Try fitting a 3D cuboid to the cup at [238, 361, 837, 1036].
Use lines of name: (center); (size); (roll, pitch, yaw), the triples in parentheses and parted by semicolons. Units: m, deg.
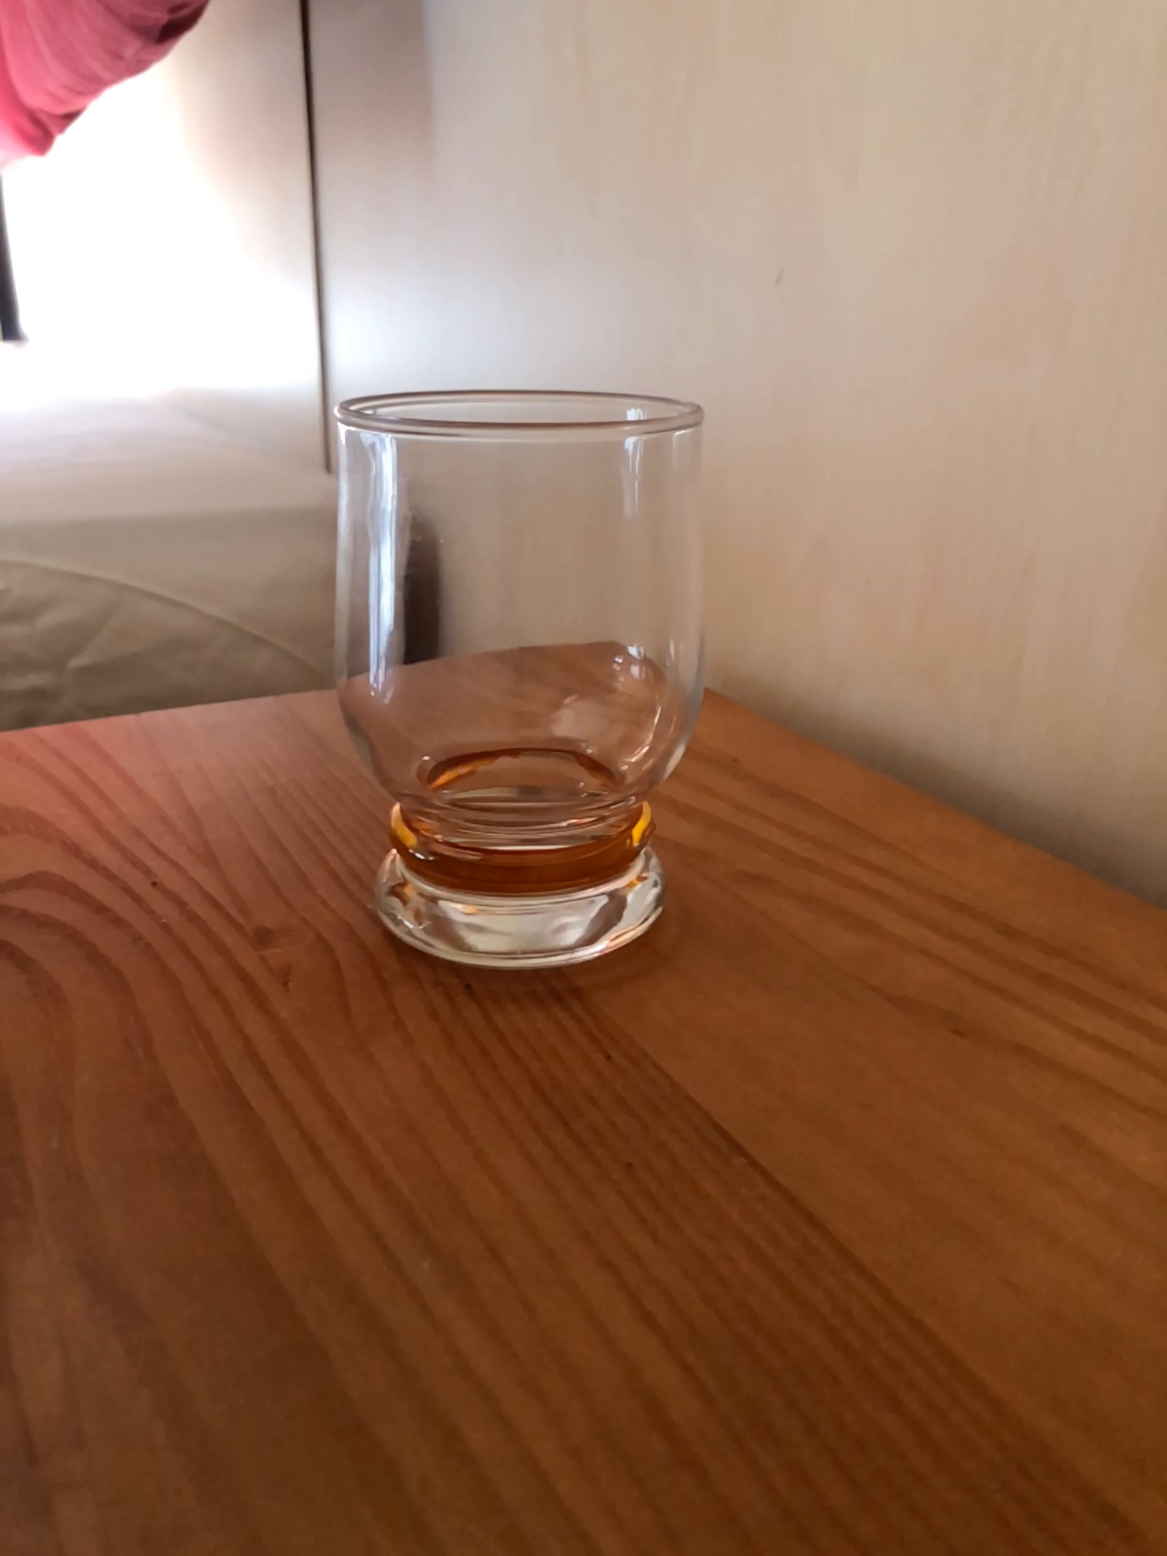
cup: (-0.008, -0.023, 0.245); (0.073, 0.100, 0.076); (1, 21, 0)
